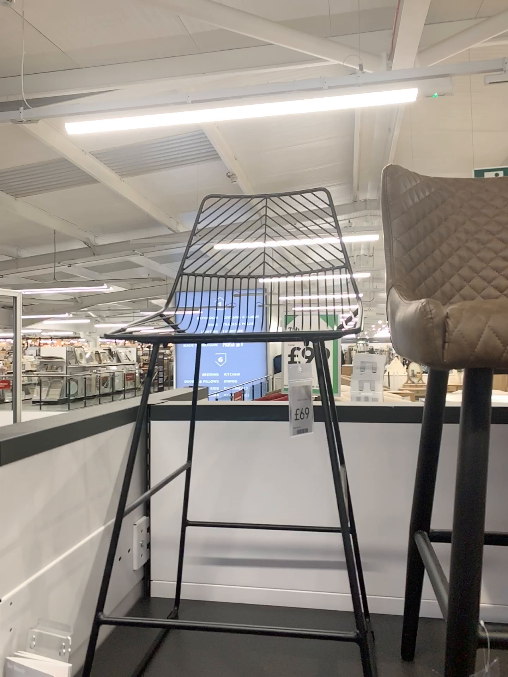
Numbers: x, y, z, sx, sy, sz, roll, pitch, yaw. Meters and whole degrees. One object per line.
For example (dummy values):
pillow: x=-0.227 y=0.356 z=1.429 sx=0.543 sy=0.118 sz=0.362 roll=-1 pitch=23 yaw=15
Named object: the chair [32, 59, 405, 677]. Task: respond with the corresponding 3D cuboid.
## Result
chair: x=-0.025 y=0.120 z=0.970 sx=0.508 sy=0.969 sz=0.528 roll=-1 pitch=-1 yaw=10
